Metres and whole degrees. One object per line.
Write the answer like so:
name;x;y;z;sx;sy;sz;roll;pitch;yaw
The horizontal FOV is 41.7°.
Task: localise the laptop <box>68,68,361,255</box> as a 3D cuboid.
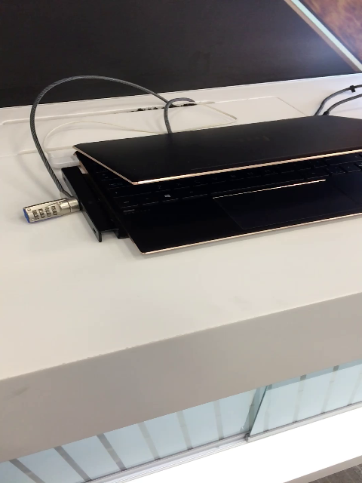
laptop;0.083;-0.102;0.514;0.341;0.072;0.200;-12;43;-15
